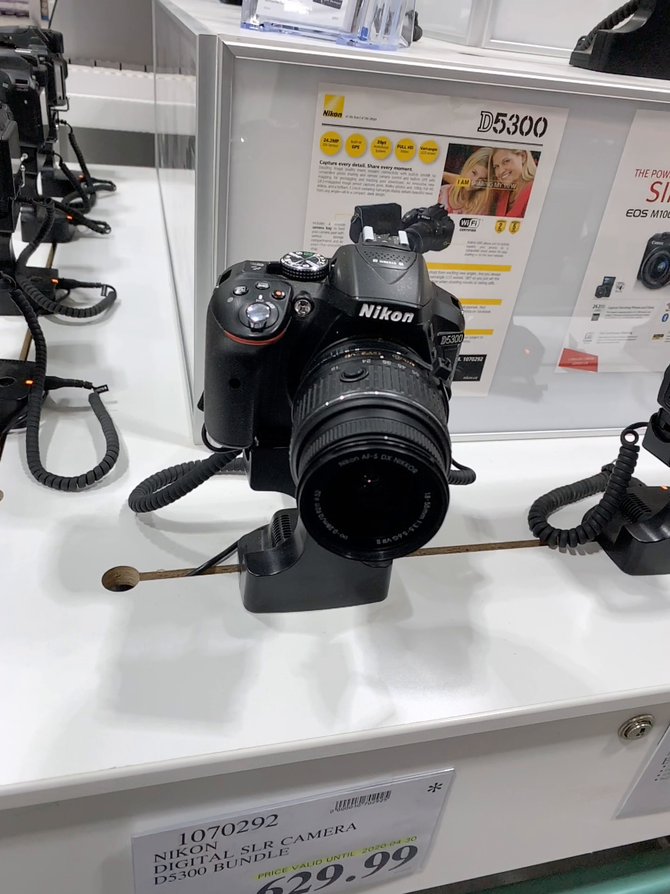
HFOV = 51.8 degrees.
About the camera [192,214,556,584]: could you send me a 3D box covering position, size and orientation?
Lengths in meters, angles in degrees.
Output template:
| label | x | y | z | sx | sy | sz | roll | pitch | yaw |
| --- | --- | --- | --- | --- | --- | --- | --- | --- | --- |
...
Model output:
| label | x | y | z | sx | sy | sz | roll | pitch | yaw |
| --- | --- | --- | --- | --- | --- | --- | --- | --- | --- |
| camera | 0.005 | -0.030 | 0.315 | 0.120 | 0.099 | 0.151 | 4 | 32 | -6 |
